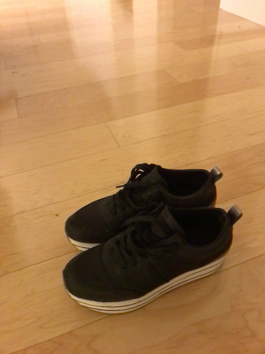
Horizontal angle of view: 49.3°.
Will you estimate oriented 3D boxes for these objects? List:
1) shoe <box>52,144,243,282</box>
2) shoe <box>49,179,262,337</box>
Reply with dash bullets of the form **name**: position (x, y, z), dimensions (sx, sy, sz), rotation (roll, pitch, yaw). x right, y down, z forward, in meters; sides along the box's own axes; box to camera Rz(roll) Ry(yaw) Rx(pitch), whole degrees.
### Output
- **shoe**: position (0.025, 0.054, 0.511), dimensions (0.290, 0.109, 0.121), rotation (-16, 44, -15)
- **shoe**: position (0.033, 0.116, 0.460), dimensions (0.290, 0.099, 0.121), rotation (-16, 44, -15)
